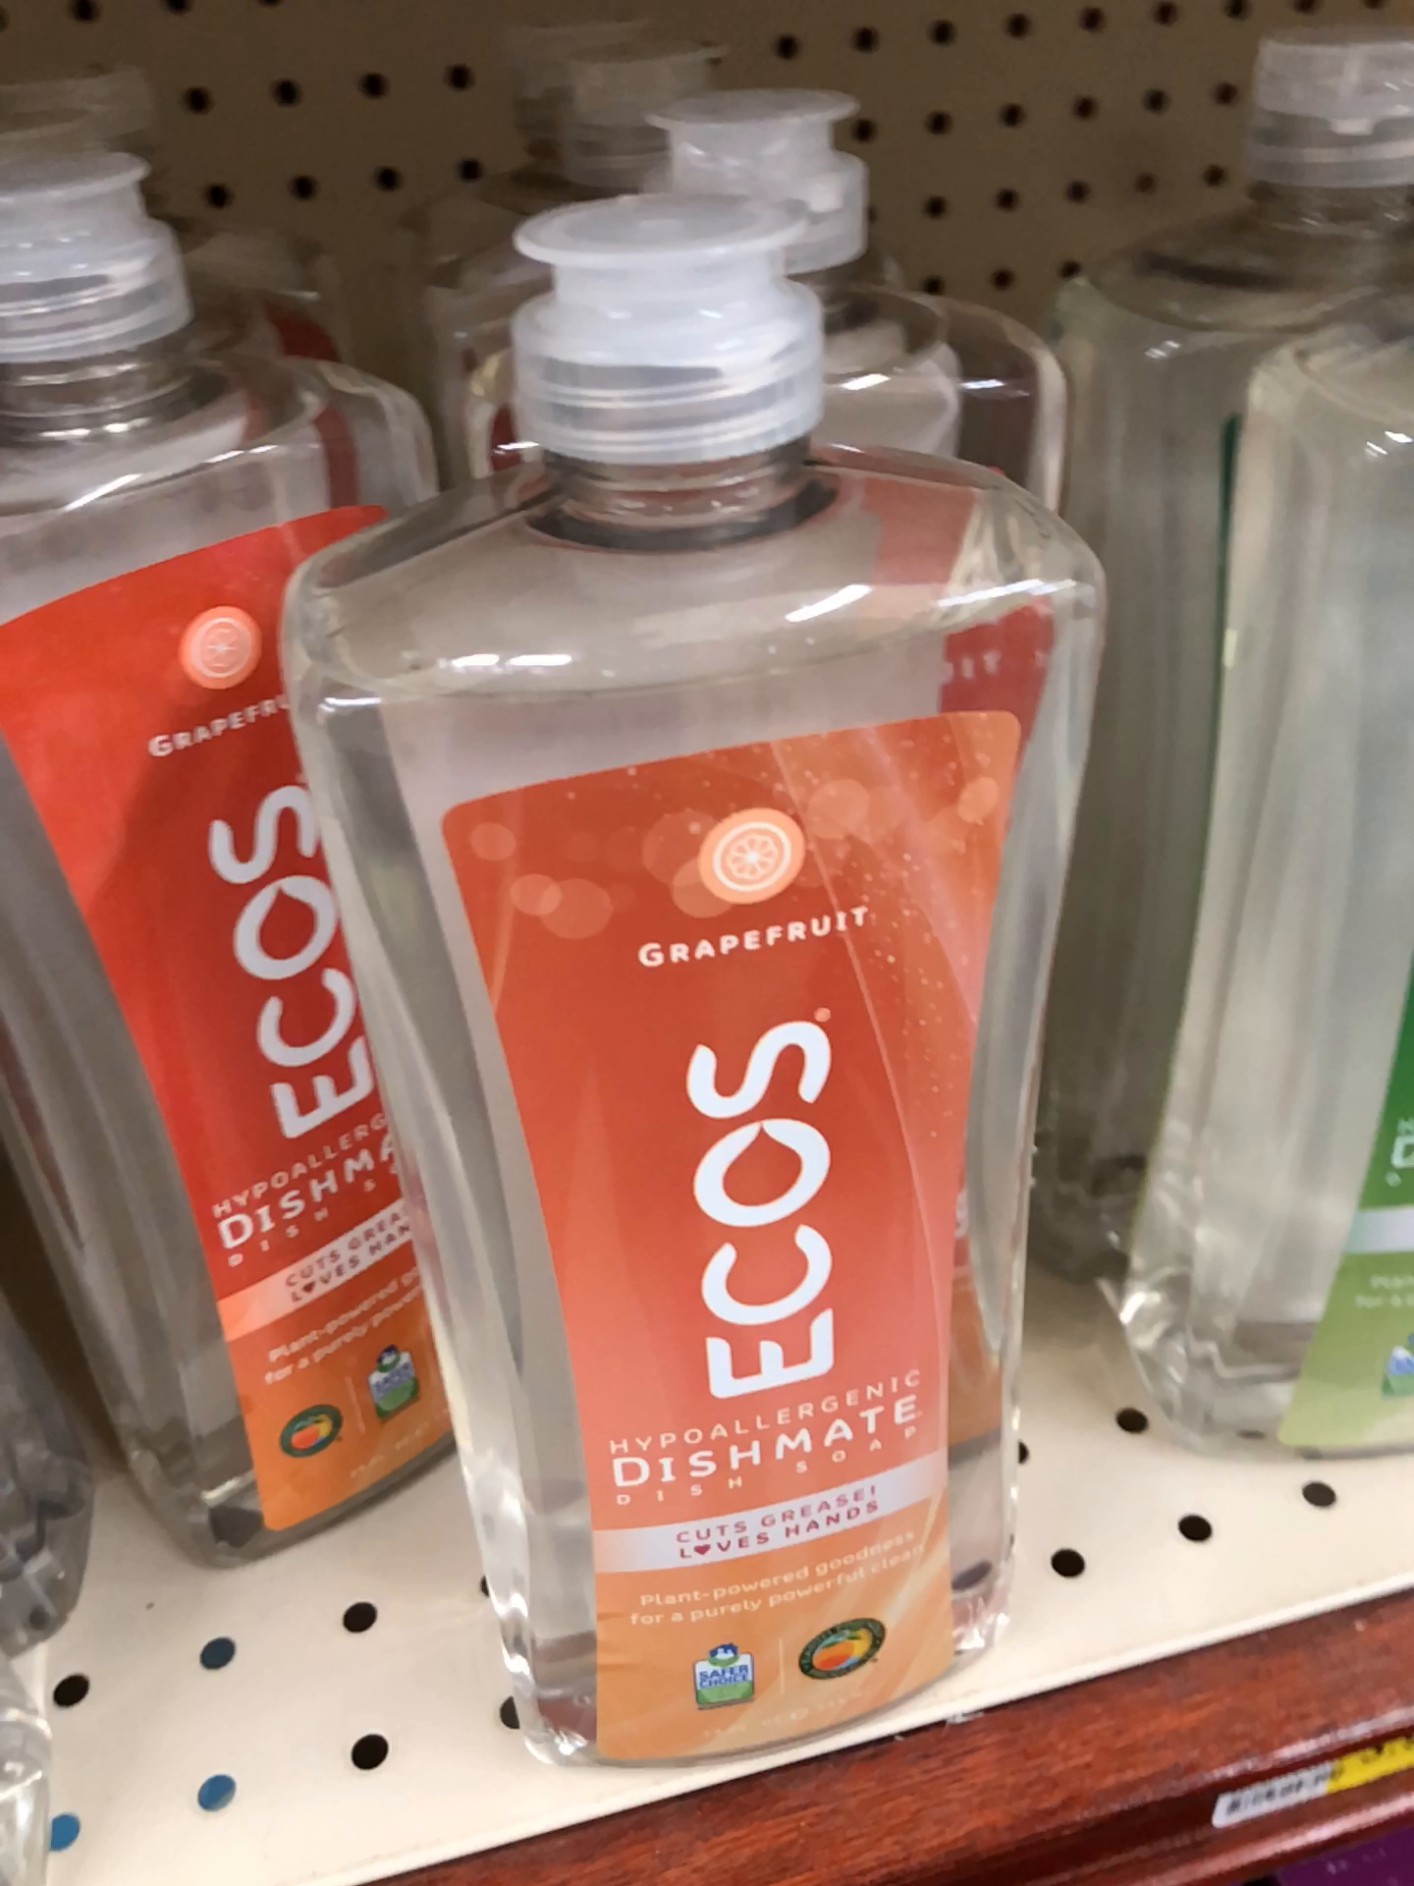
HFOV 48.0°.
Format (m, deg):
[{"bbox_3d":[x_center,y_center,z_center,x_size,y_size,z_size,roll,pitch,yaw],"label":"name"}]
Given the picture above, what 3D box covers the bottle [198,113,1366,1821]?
[{"bbox_3d":[0.007,0.023,0.205,0.092,0.219,0.050,-11,37,-10],"label":"bottle"}]
